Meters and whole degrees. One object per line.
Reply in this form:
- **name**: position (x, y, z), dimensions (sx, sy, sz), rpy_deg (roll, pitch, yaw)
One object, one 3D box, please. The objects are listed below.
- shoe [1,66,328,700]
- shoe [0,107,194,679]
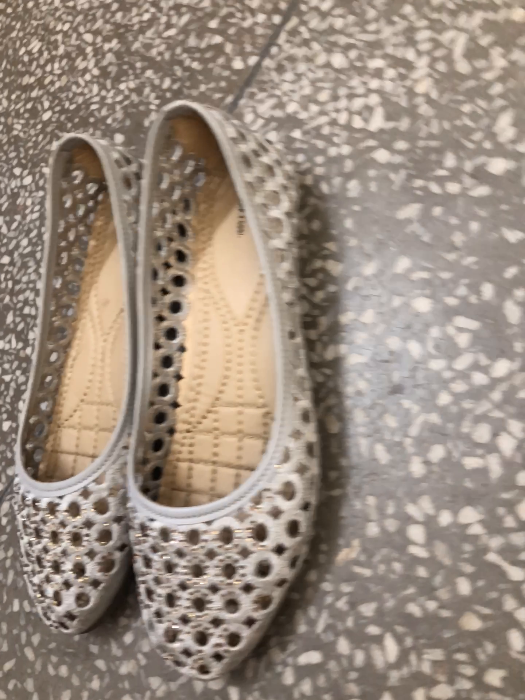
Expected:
- **shoe**: position (-0.034, 0.016, 0.256), dimensions (0.093, 0.070, 0.240), rpy_deg (-3, 75, 30)
- **shoe**: position (-0.104, 0.015, 0.296), dimensions (0.093, 0.070, 0.240), rpy_deg (-3, 75, 30)
